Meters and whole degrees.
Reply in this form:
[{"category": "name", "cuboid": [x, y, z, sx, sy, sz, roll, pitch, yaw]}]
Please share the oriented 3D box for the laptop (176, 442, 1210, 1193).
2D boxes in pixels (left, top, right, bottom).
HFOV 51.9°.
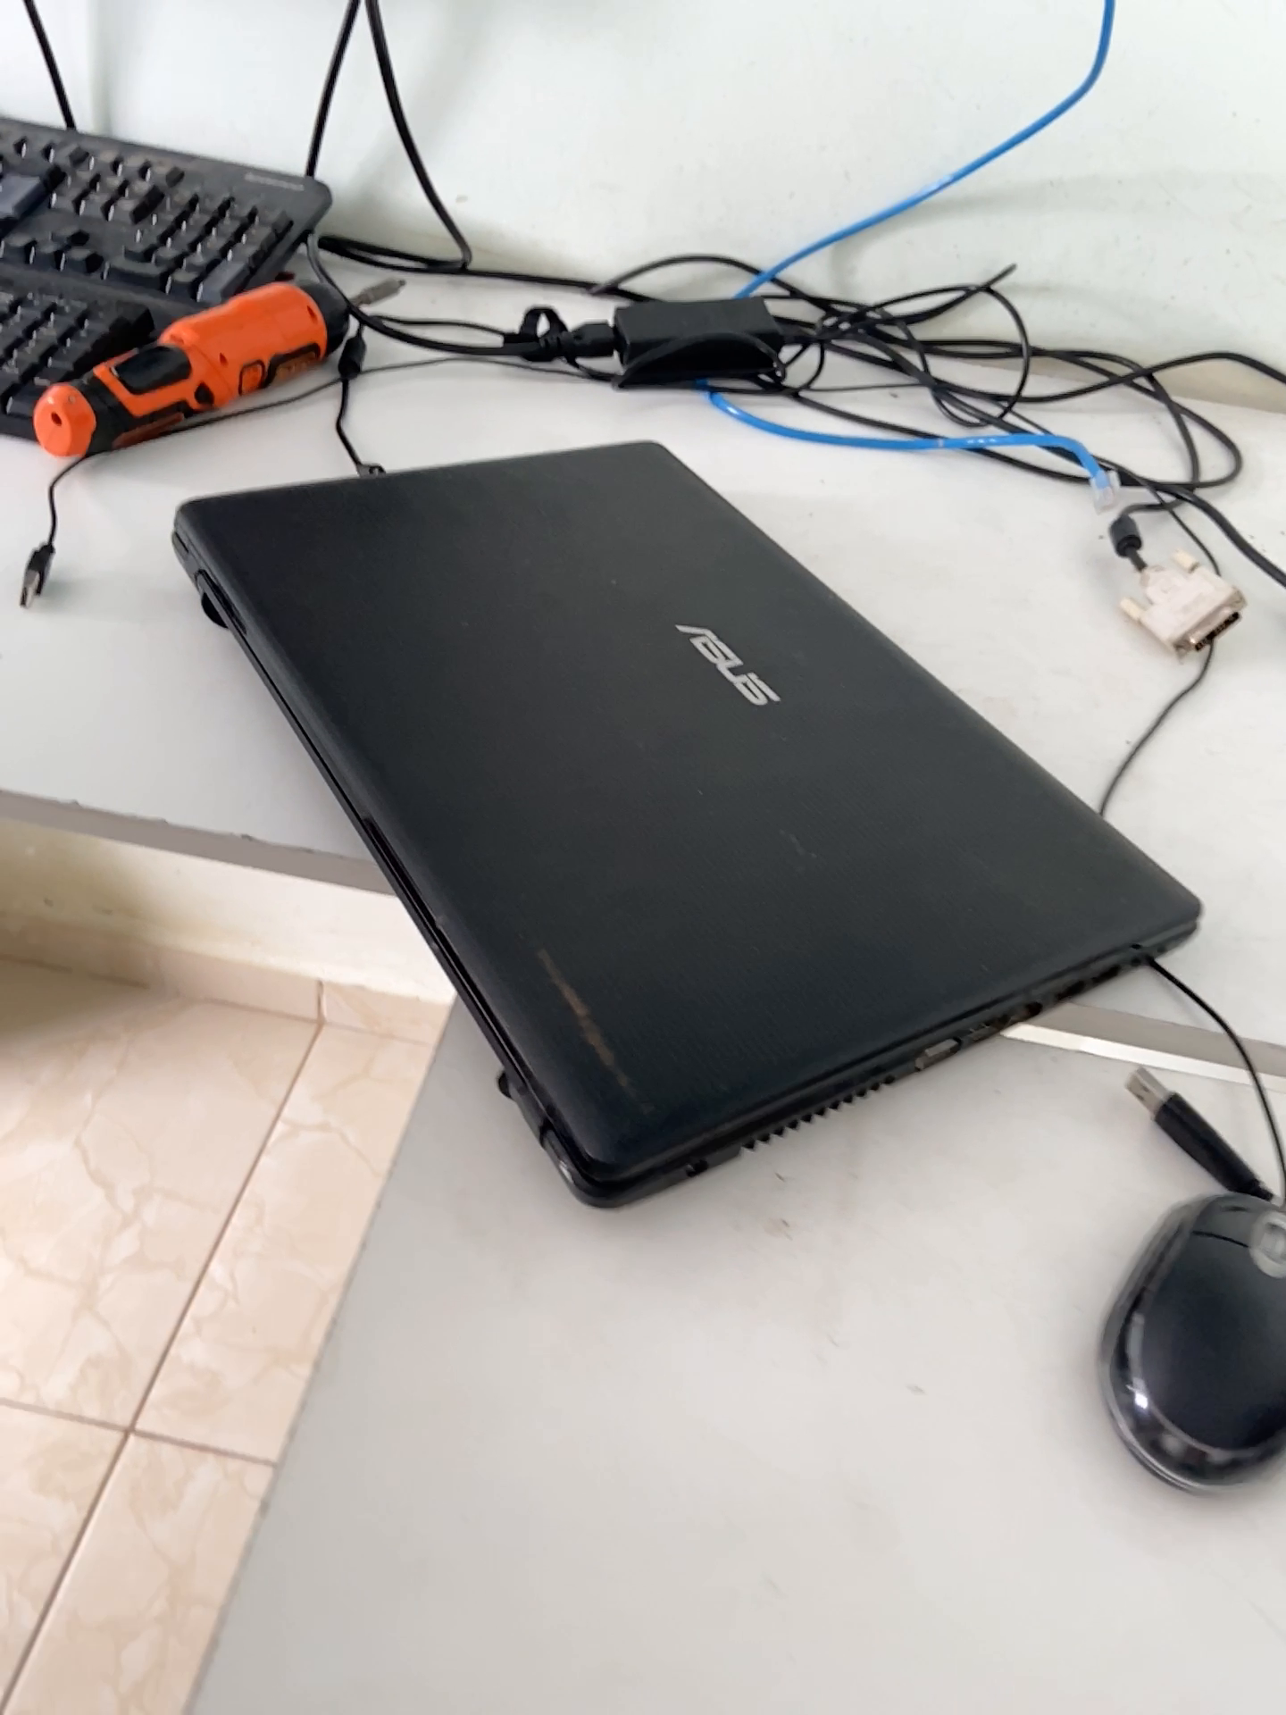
[{"category": "laptop", "cuboid": [-0.002, -0.064, 0.528, 0.253, 0.010, 0.382, -17, 48, -28]}]
